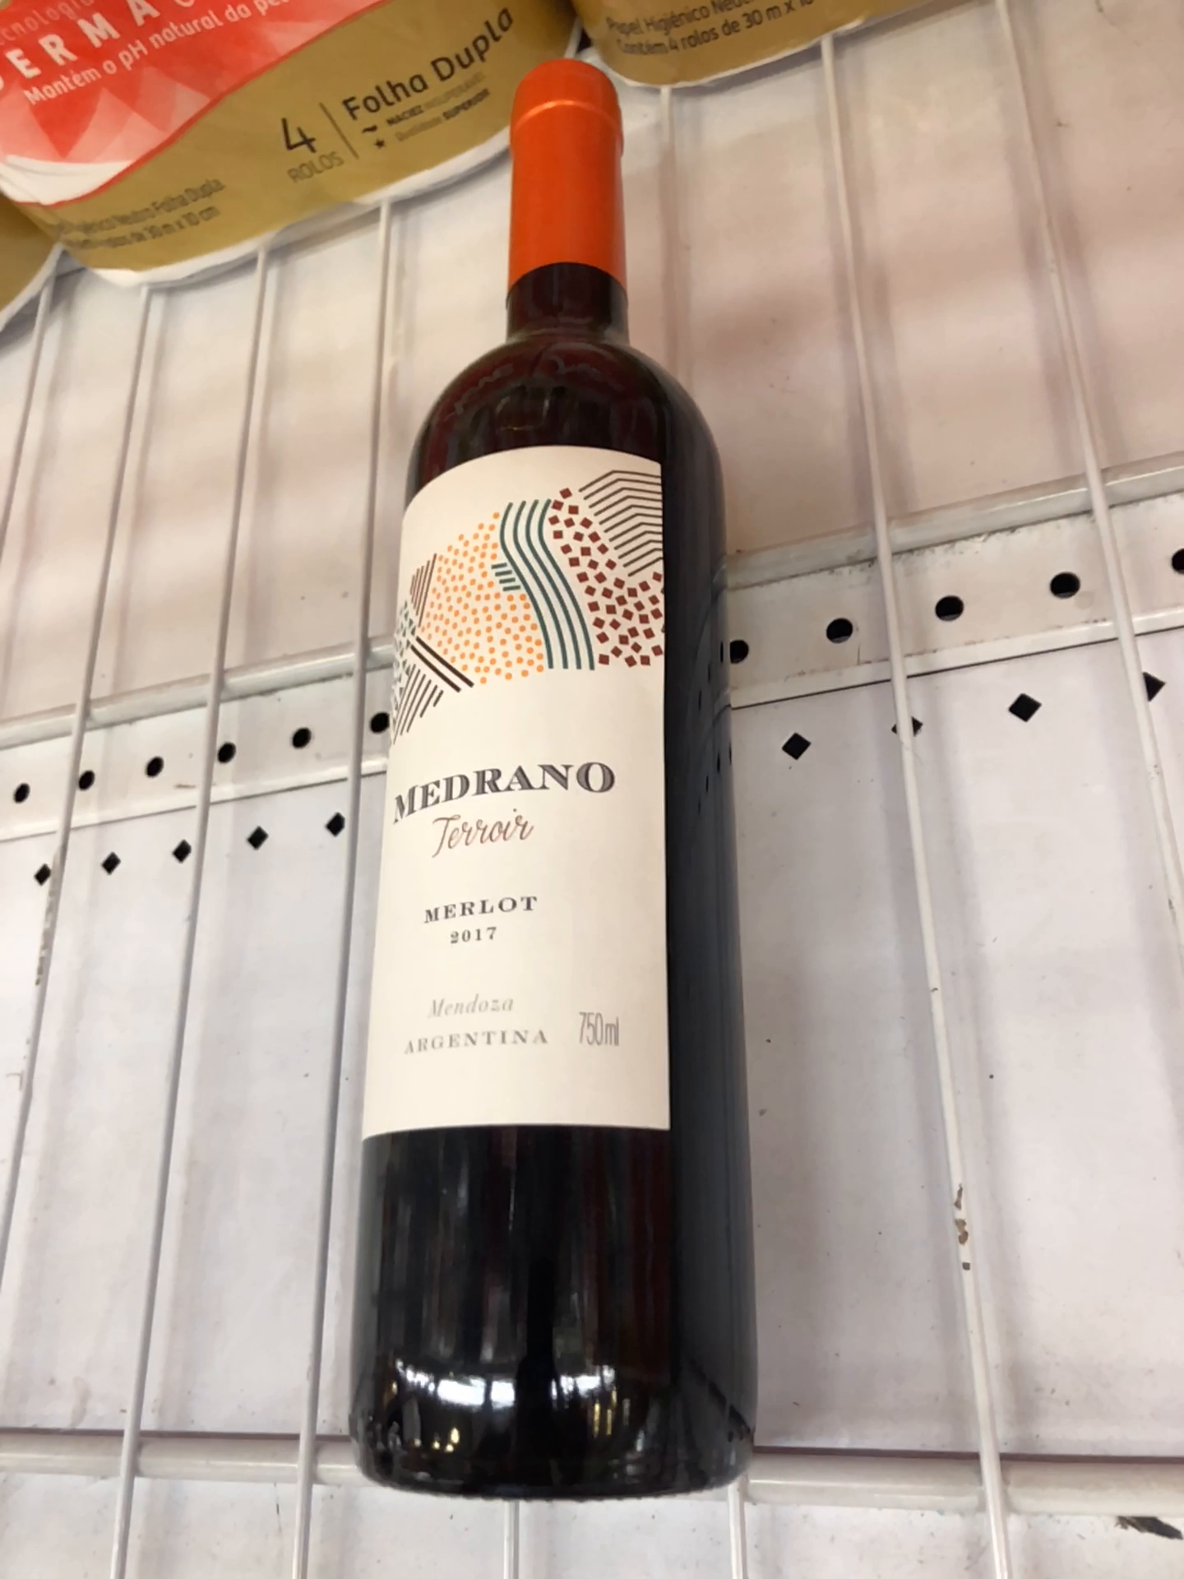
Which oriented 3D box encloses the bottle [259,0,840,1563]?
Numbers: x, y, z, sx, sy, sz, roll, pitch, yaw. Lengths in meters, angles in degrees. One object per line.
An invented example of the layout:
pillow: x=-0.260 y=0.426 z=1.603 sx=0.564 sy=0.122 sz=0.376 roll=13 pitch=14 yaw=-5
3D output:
bottle: x=-0.002 y=-0.025 z=0.295 sx=0.080 sy=0.070 sz=0.331 roll=-9 pitch=66 yaw=21
